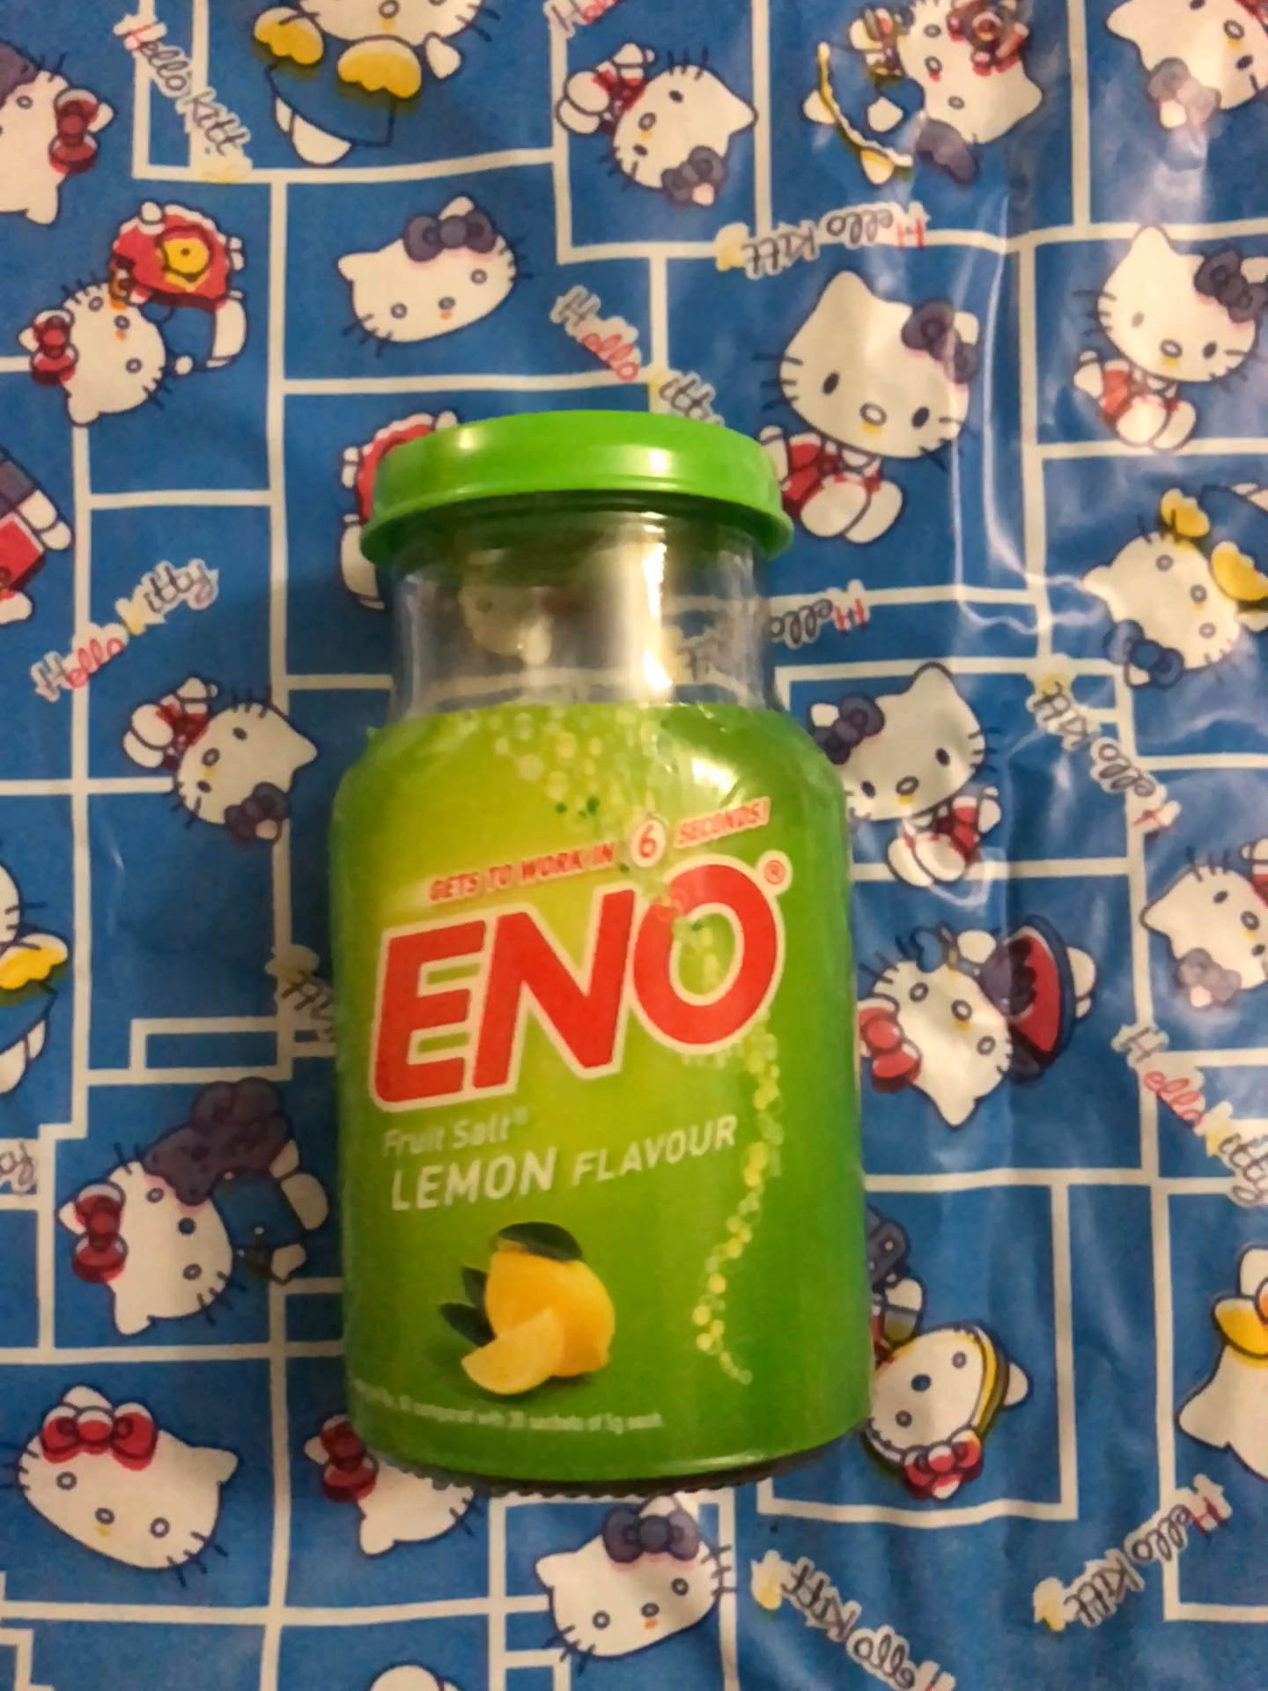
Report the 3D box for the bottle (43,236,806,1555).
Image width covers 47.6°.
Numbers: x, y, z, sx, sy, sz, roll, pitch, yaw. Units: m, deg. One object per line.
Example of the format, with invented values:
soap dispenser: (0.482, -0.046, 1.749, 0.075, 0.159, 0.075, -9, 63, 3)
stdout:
bottle: (-0.017, 0.005, 0.147, 0.060, 0.050, 0.110, -3, 92, 2)
